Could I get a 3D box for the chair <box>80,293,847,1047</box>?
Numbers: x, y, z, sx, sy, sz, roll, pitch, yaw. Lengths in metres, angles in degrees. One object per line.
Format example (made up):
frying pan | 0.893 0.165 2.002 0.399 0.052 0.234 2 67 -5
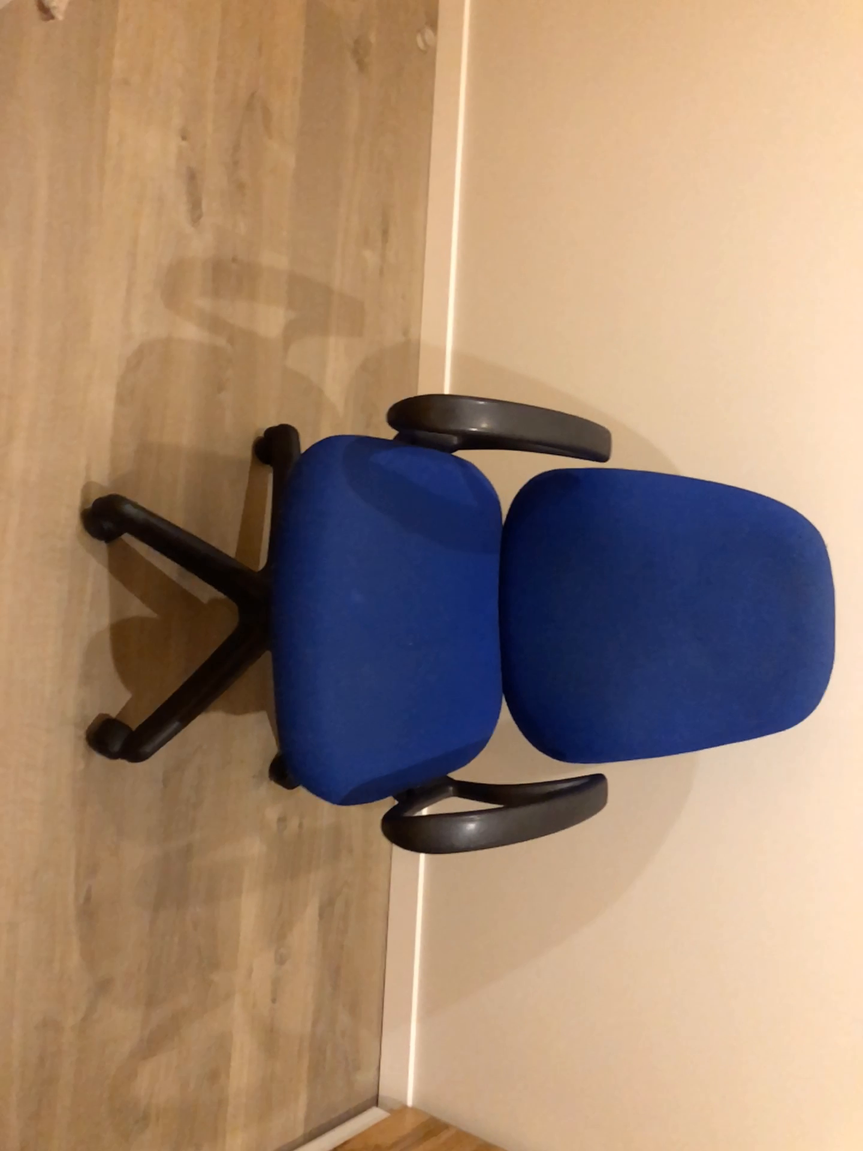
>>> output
chair | 0.050 0.075 1.424 0.704 0.904 0.696 -3 93 -52
